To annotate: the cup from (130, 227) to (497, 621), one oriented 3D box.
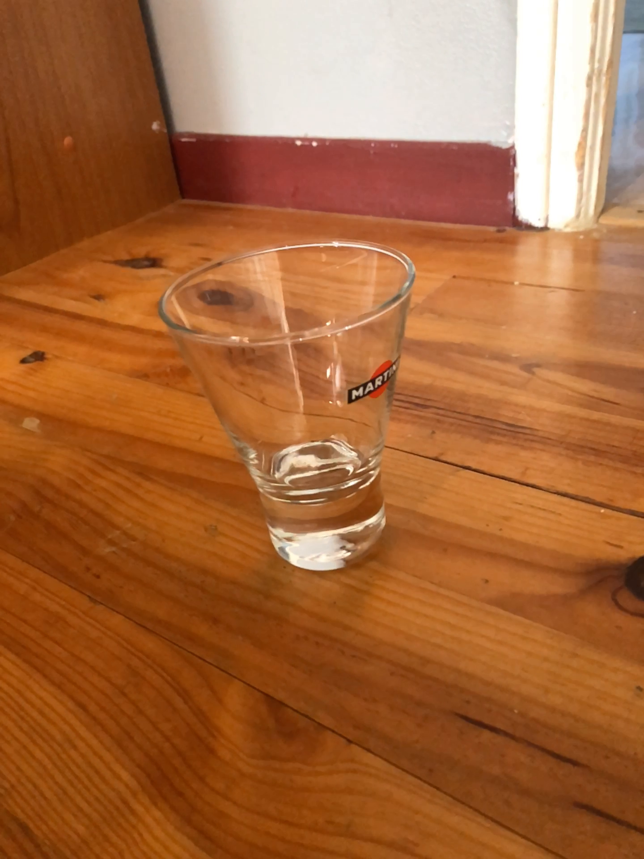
[{"bbox_3d":[0.002,-0.010,0.271,0.088,0.097,0.092,-5,33,3],"label":"cup"}]
